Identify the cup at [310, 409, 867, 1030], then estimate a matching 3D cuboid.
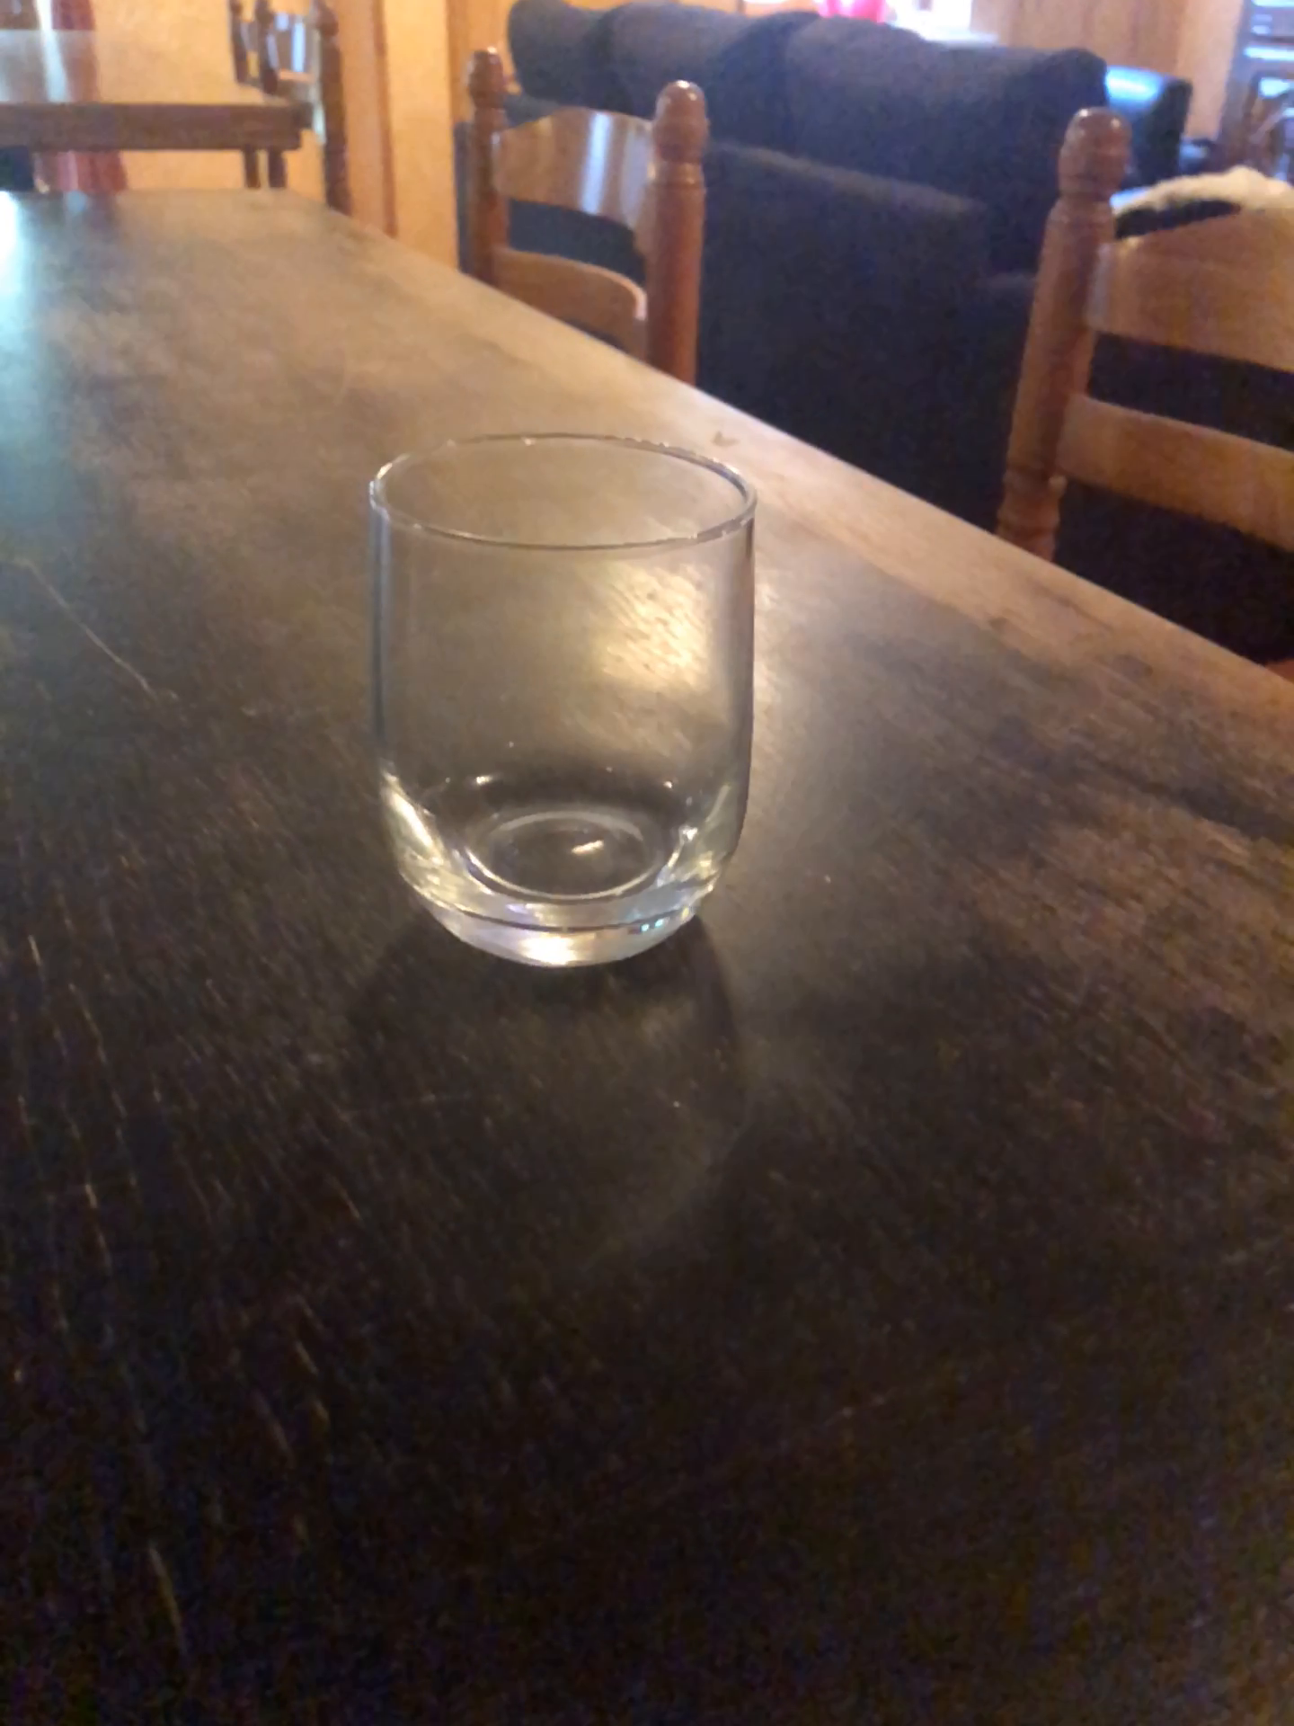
[{"bbox_3d":[-0.014,-0.033,0.278,0.071,0.084,0.078,1,31,-1],"label":"cup"}]
